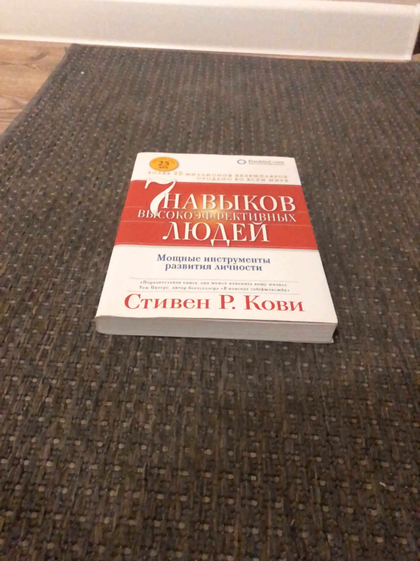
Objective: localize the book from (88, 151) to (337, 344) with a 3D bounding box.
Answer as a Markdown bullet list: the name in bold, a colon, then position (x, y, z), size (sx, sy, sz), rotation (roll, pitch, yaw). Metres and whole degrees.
- **book**: position (0.005, -0.045, 0.406), size (0.166, 0.020, 0.237), rotation (2, 42, 0)
